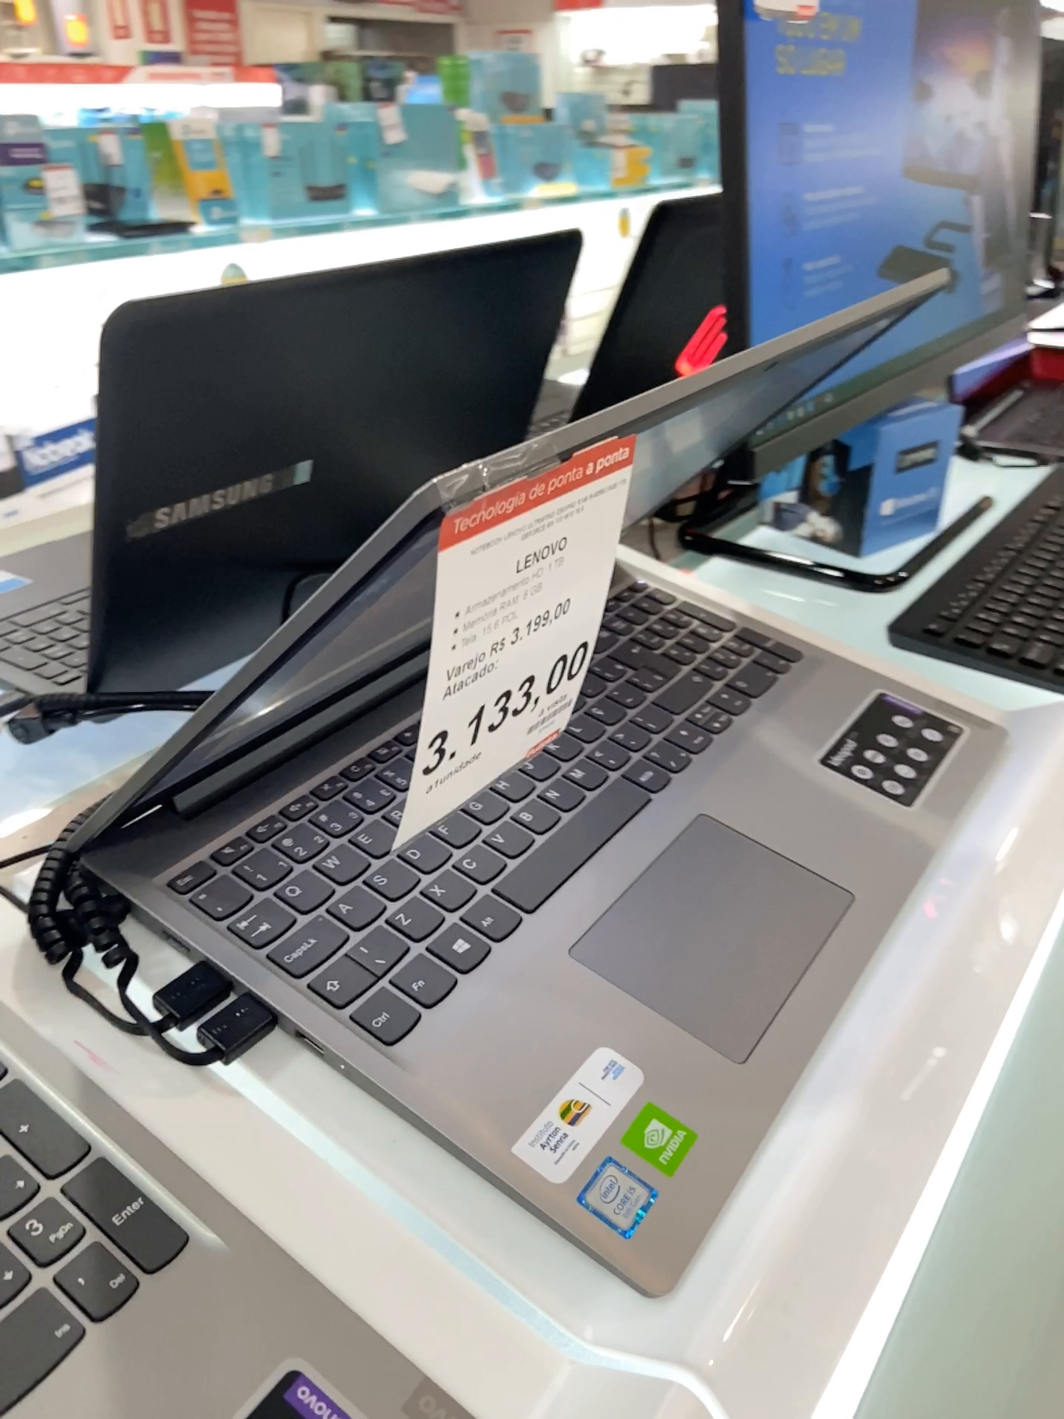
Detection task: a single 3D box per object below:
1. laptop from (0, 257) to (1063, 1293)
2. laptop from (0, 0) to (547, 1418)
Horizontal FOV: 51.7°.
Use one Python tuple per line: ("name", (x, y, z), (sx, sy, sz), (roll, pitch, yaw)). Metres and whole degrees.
("laptop", (0.038, -0.041, 0.434), (0.241, 0.163, 0.361), (25, 37, 26))
("laptop", (-0.246, 0.067, 0.143), (0.351, 0.224, 0.348), (23, 34, 25))
